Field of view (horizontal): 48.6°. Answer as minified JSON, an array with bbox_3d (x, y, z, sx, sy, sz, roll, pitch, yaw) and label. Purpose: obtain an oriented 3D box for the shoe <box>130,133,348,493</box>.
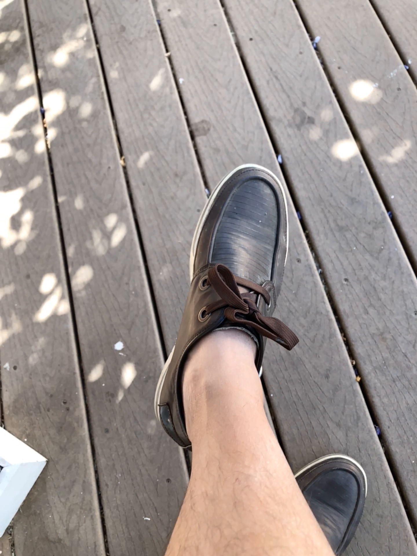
[{"bbox_3d":[0.024,0.031,0.458,0.118,0.104,0.295,17,84,-7],"label":"shoe"}]
